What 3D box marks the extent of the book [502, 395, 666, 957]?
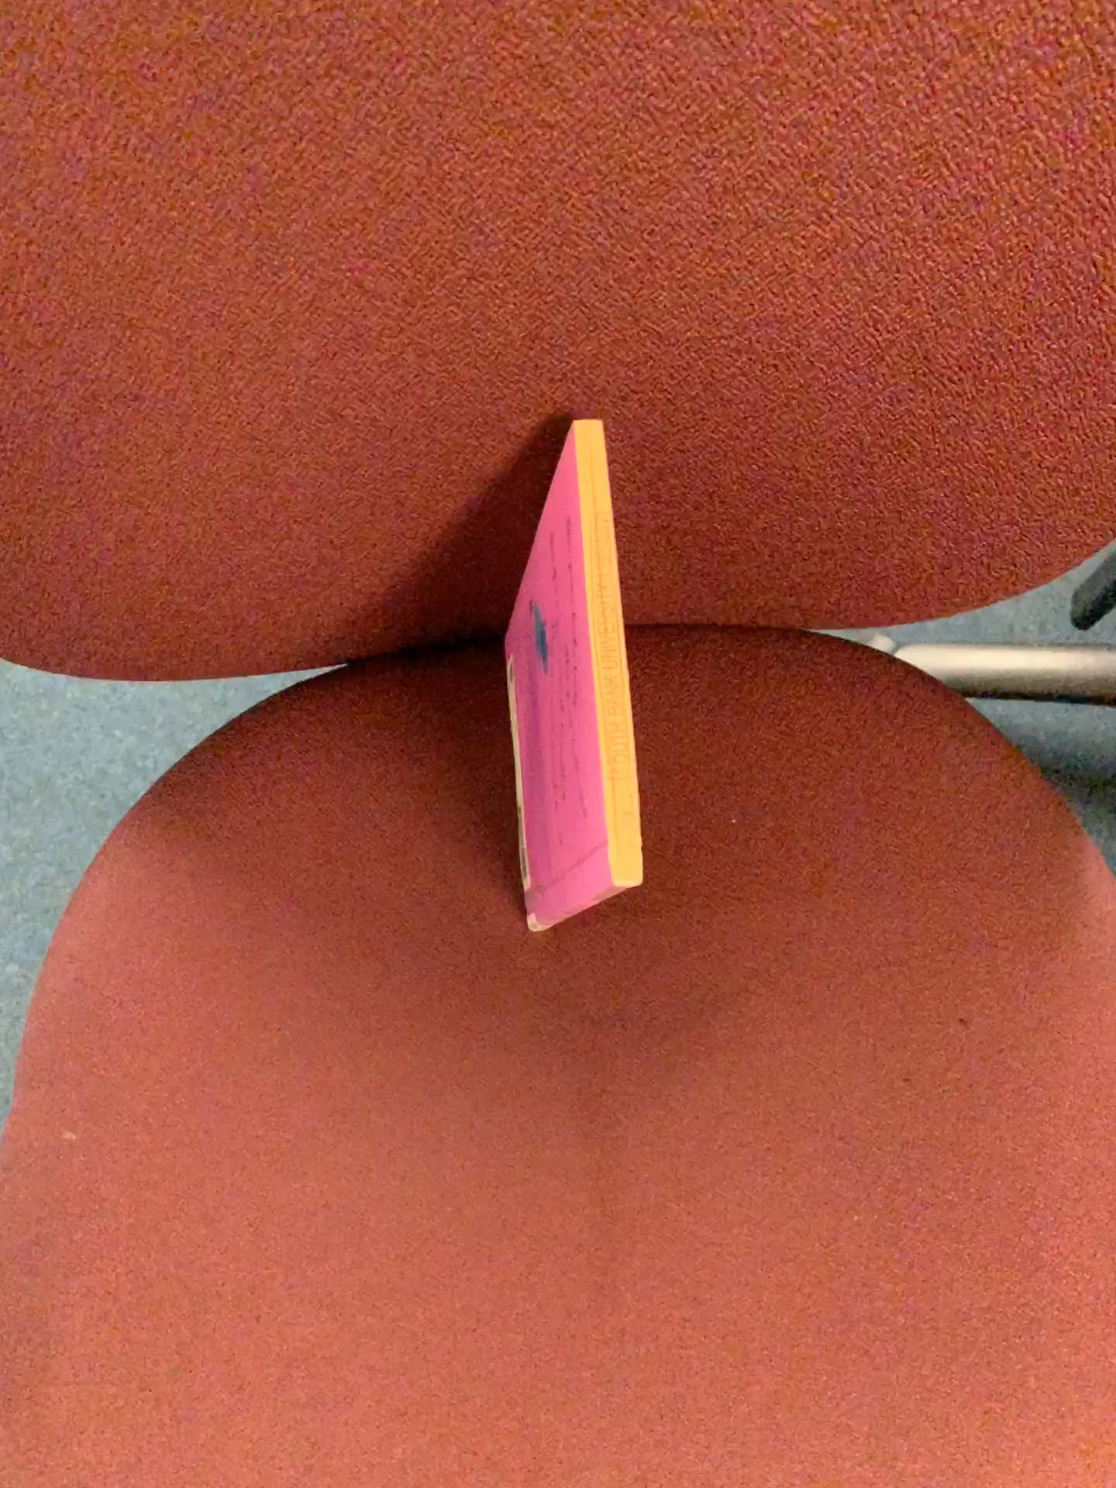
[{"bbox_3d":[0.001,-0.005,0.391,0.017,0.190,0.141,-2,76,-8],"label":"book"}]
